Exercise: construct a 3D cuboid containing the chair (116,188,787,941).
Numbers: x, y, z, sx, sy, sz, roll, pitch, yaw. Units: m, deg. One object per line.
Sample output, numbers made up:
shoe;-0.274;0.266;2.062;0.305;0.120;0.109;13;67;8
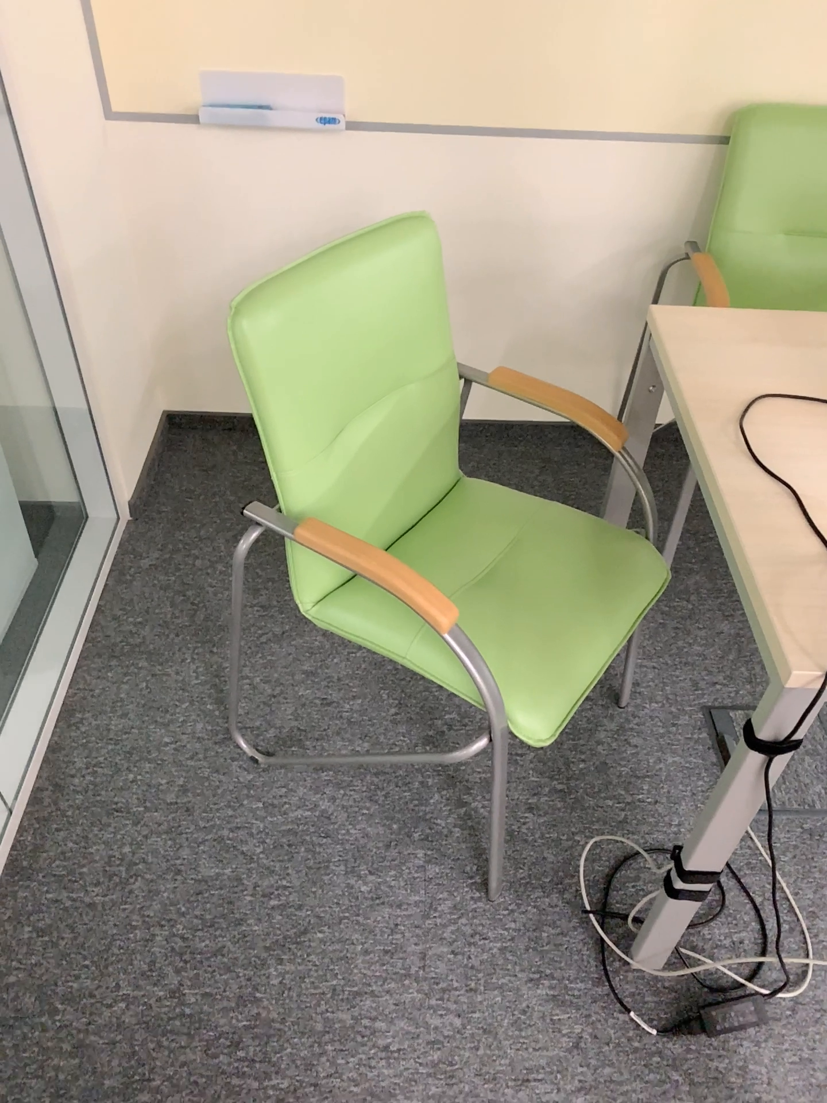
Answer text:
chair;0.062;0.005;1.449;0.651;0.895;0.673;28;48;24
